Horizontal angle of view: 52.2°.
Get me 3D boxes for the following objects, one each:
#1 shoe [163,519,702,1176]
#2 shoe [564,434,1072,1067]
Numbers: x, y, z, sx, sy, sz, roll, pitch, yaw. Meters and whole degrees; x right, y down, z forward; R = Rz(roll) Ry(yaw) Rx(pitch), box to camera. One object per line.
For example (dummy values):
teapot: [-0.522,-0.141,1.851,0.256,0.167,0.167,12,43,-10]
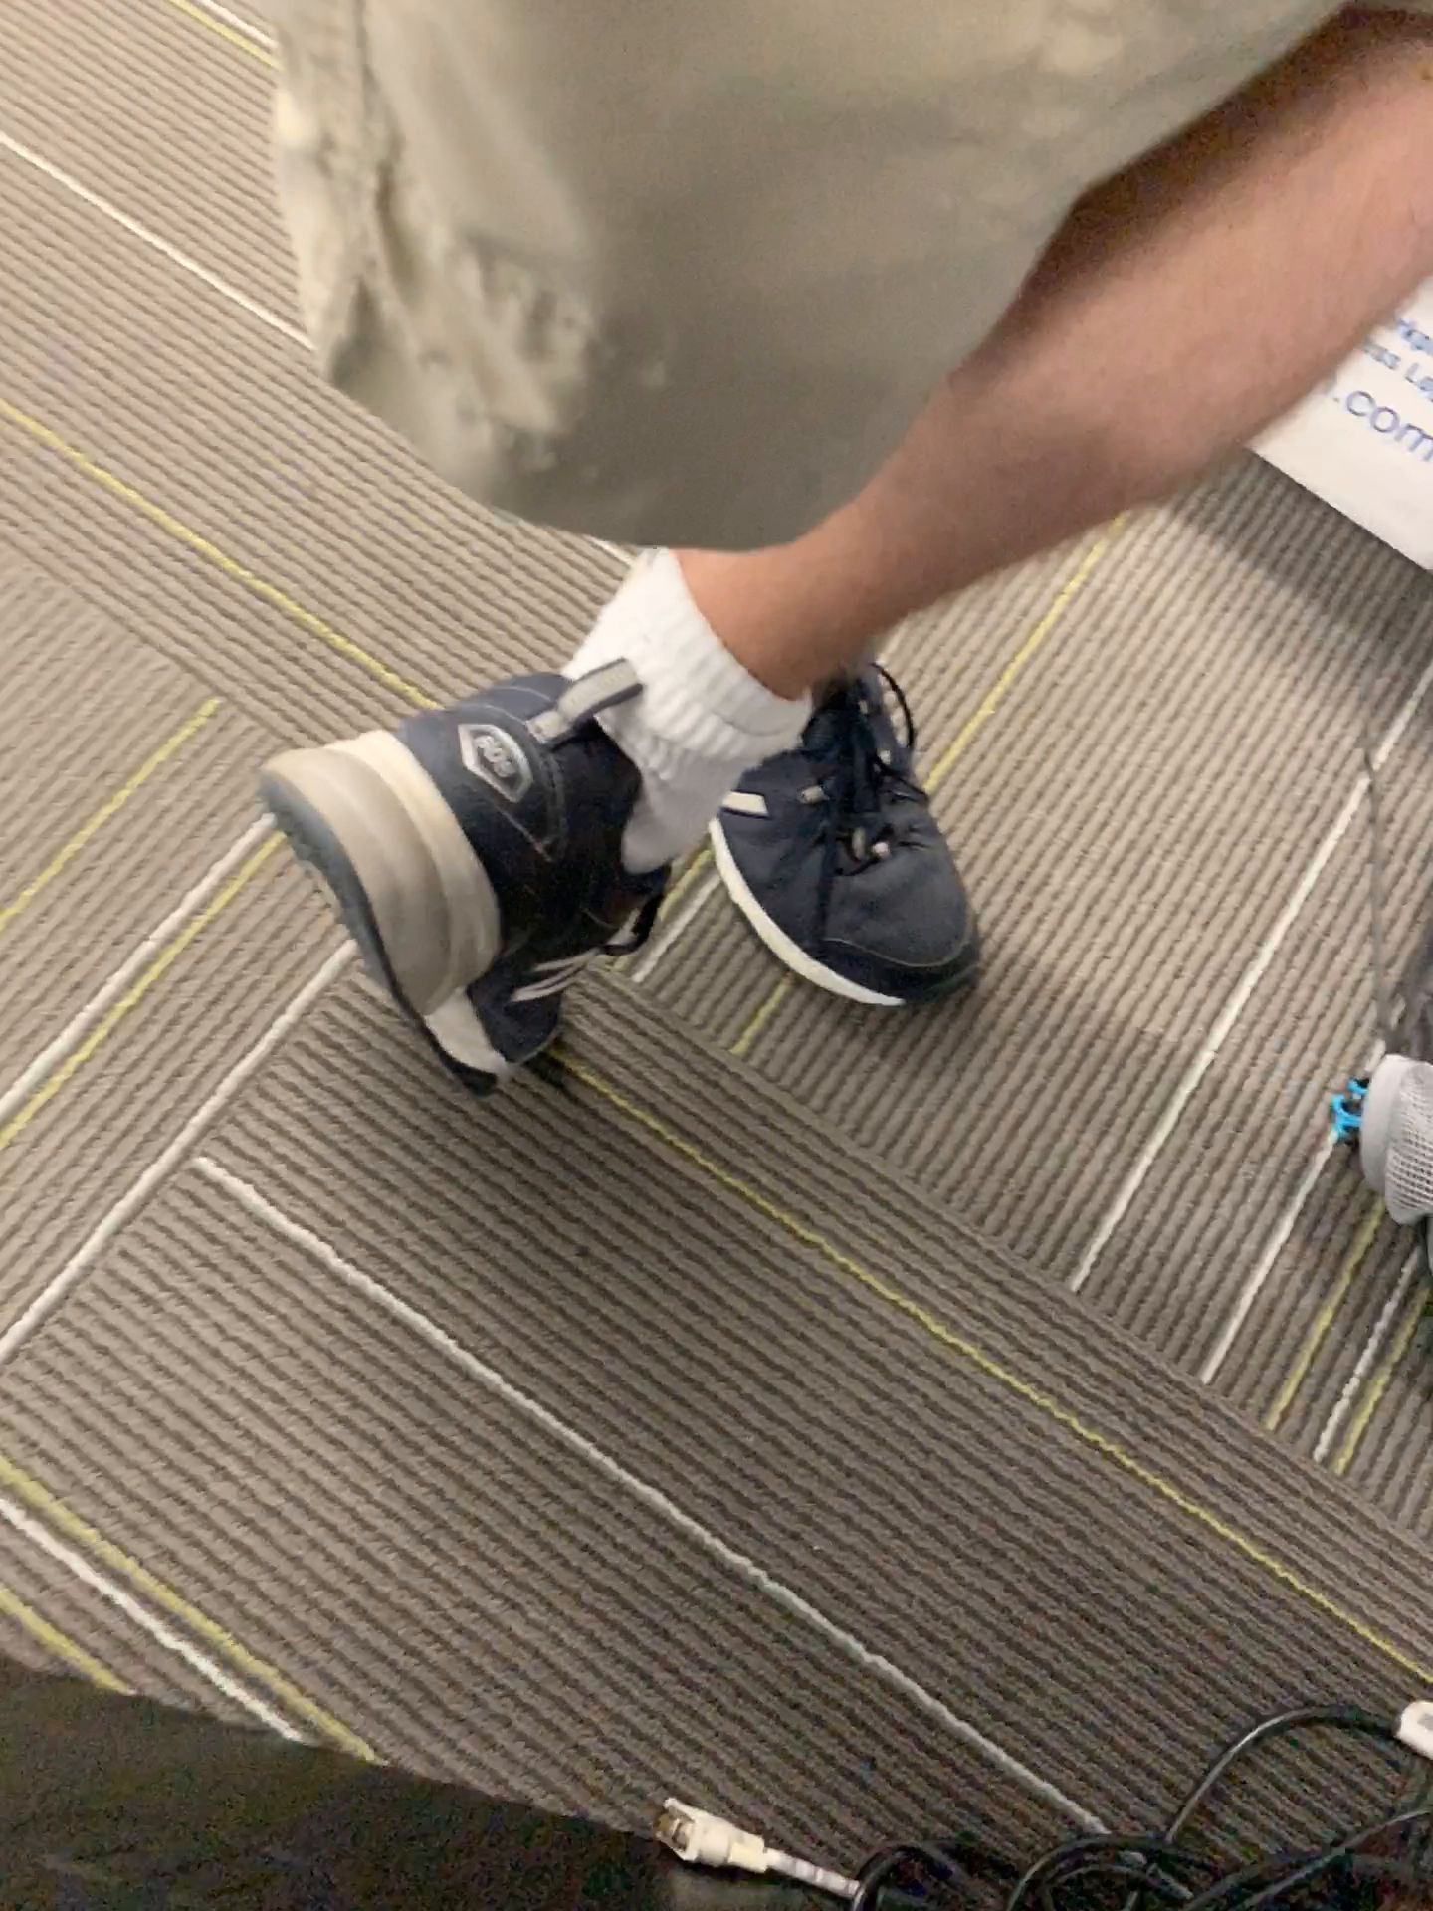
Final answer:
shoe: [-0.103,-0.021,0.610,0.129,0.293,0.122,-30,76,-14]
shoe: [0.042,-0.108,0.744,0.120,0.077,0.297,-24,75,-15]
